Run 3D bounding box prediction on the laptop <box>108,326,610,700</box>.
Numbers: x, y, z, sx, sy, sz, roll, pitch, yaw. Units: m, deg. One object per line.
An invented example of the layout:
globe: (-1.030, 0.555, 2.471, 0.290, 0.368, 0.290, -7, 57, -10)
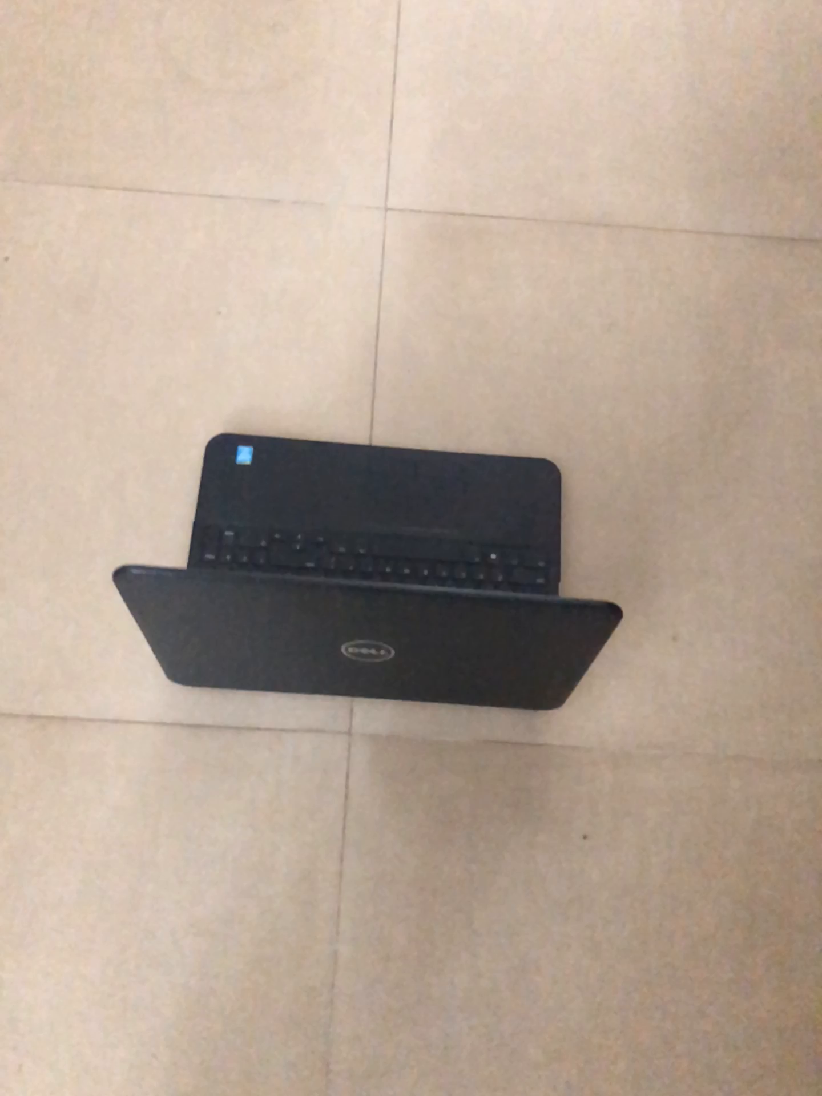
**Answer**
laptop: (-0.032, -0.016, 0.786, 0.351, 0.228, 0.248, 4, 71, -1)
